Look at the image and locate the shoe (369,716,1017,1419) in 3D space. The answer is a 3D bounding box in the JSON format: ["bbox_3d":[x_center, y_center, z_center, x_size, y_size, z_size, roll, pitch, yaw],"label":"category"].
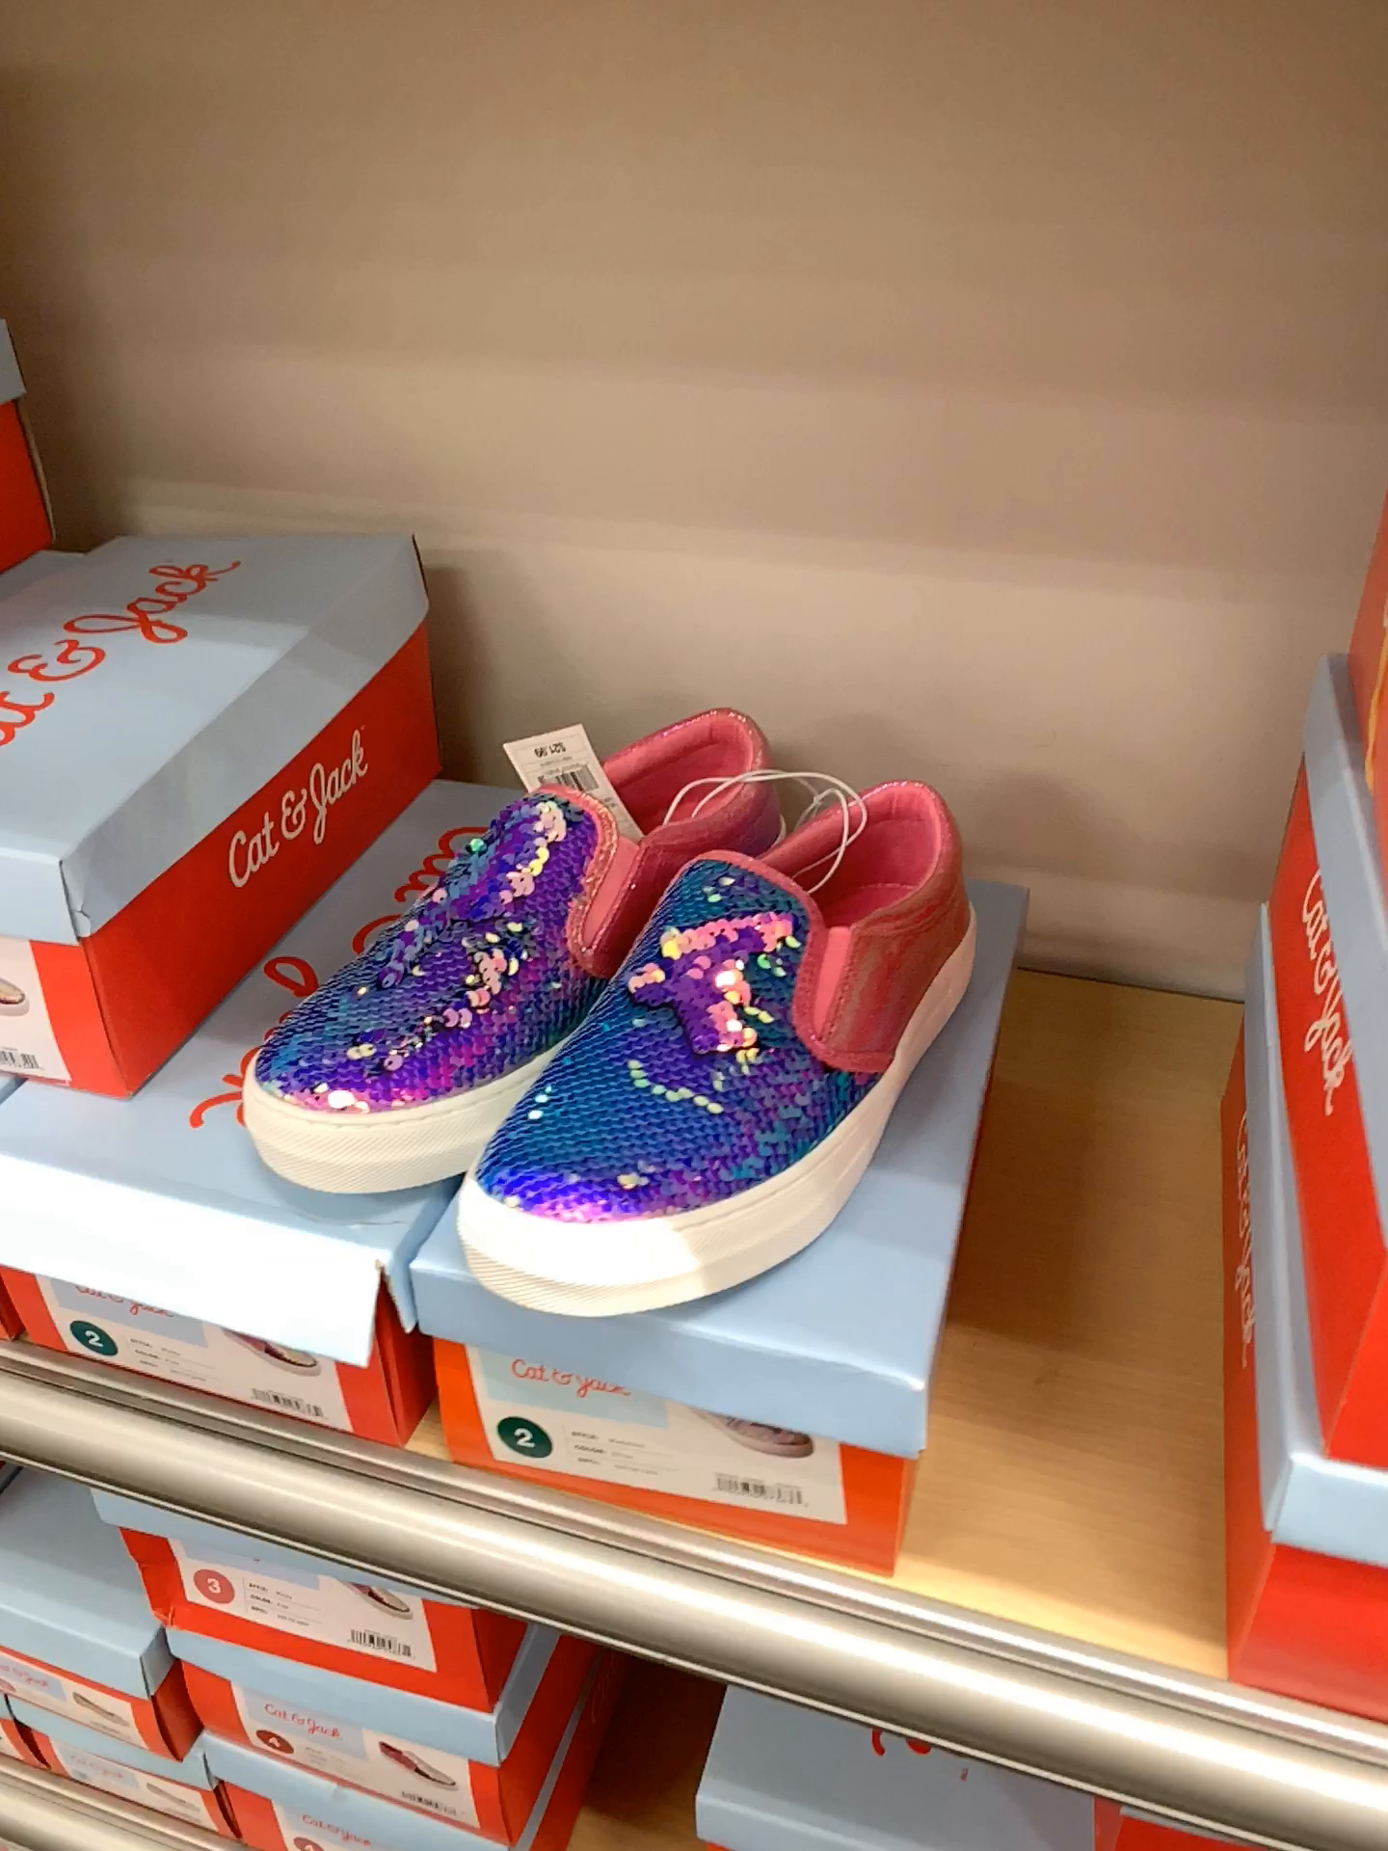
[{"bbox_3d":[0.014,0.023,0.415,0.090,0.074,0.211,15,38,25],"label":"shoe"}]

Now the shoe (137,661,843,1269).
[{"bbox_3d":[-0.050,-0.003,0.458,0.100,0.074,0.211,20,40,31],"label":"shoe"}]
